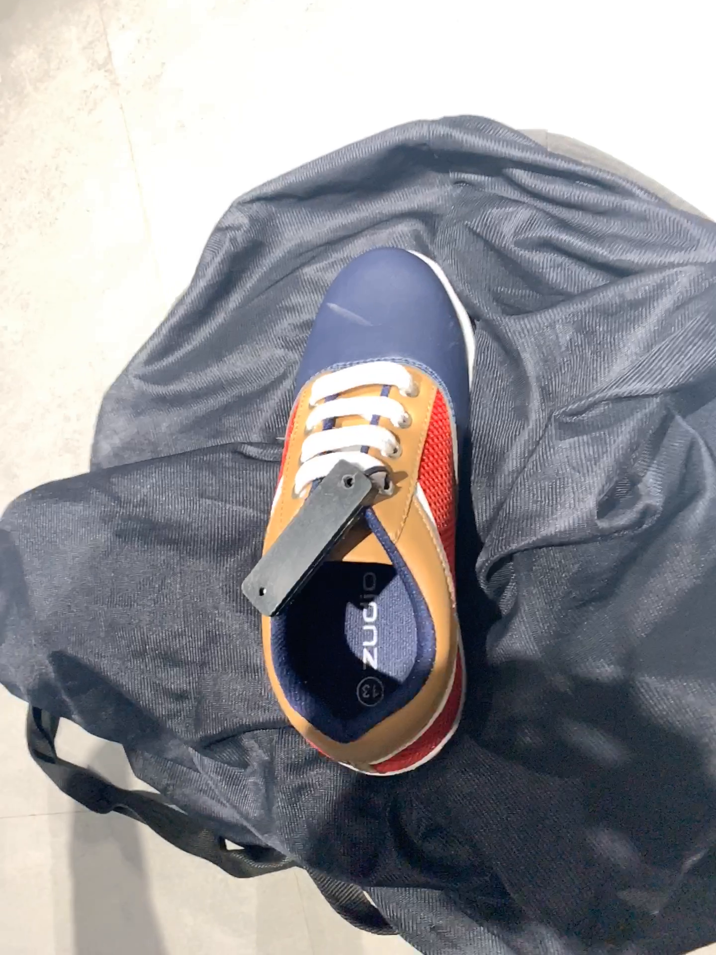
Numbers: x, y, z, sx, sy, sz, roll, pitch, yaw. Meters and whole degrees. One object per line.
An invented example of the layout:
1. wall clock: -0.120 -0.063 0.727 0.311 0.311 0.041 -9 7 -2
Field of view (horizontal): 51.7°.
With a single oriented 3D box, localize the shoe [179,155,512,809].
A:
1. shoe: -0.003 0.004 0.254 0.080 0.070 0.190 -9 73 26
